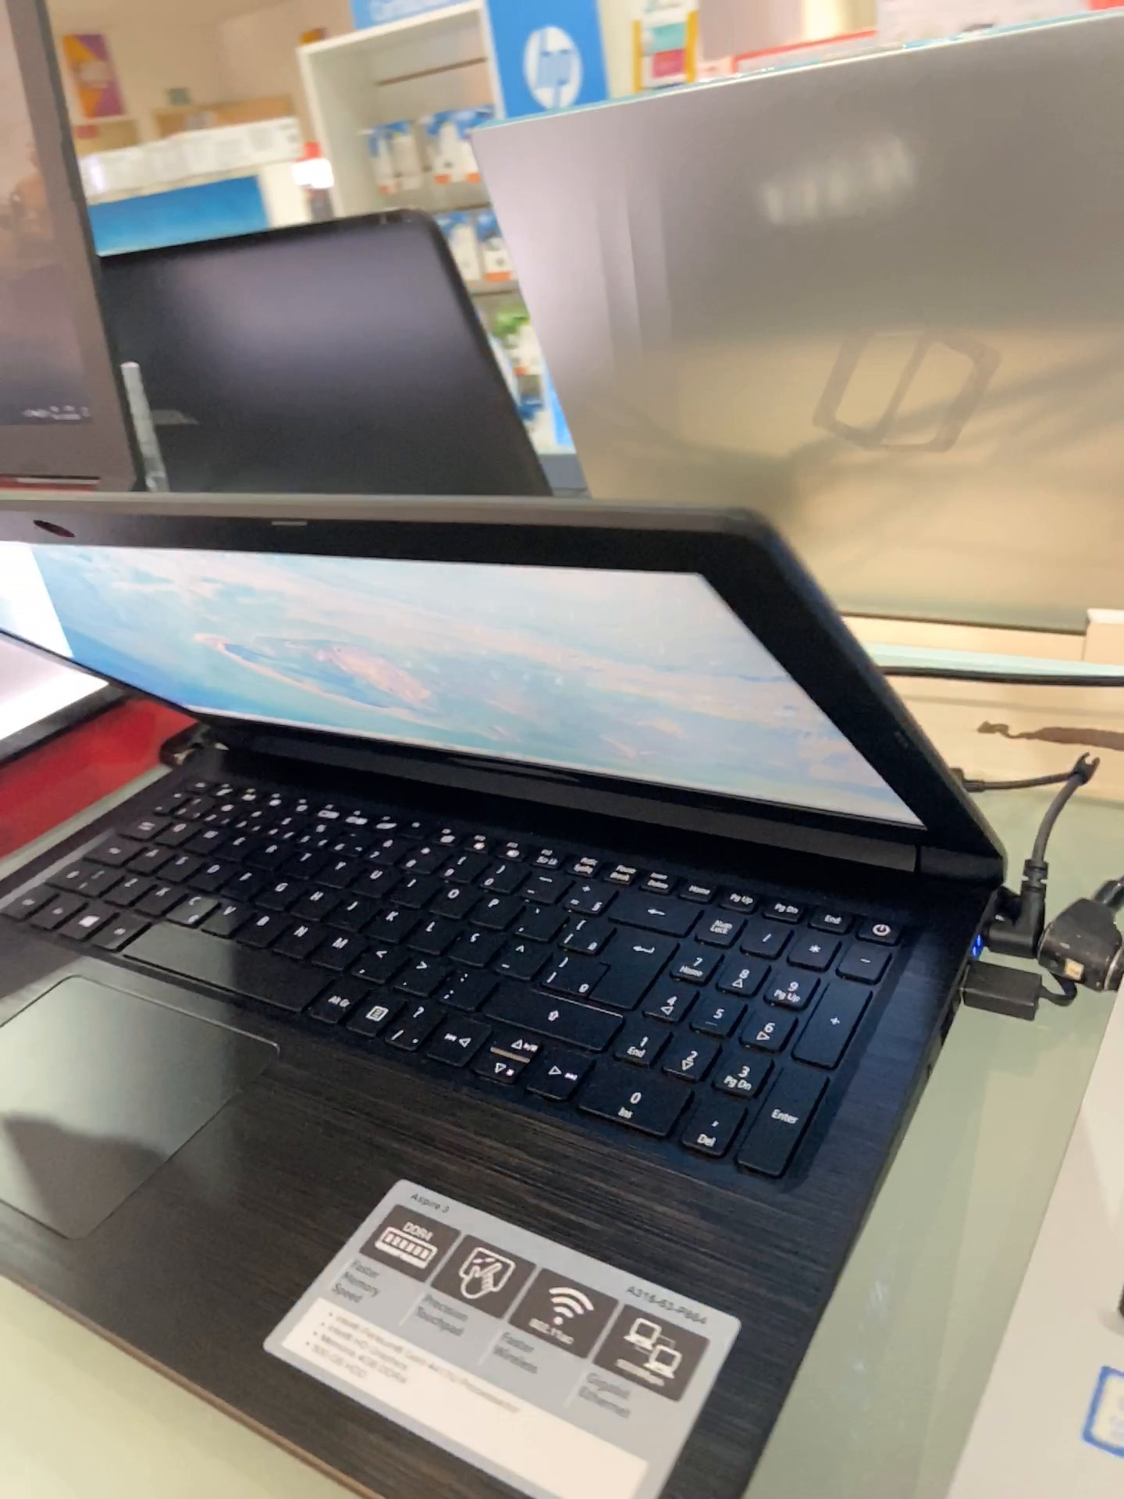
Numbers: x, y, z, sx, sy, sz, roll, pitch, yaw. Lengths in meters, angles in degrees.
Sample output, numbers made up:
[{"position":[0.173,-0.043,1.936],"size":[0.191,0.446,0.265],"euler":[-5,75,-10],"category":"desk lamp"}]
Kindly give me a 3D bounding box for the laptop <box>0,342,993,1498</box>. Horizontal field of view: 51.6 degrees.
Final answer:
[{"position":[-0.095,0.007,0.351],"size":[0.375,0.169,0.231],"euler":[8,34,32],"category":"laptop"}]

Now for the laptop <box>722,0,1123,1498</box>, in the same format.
[{"position":[0.266,0.016,0.142],"size":[0.362,0.227,0.314],"euler":[9,33,34],"category":"laptop"}]
